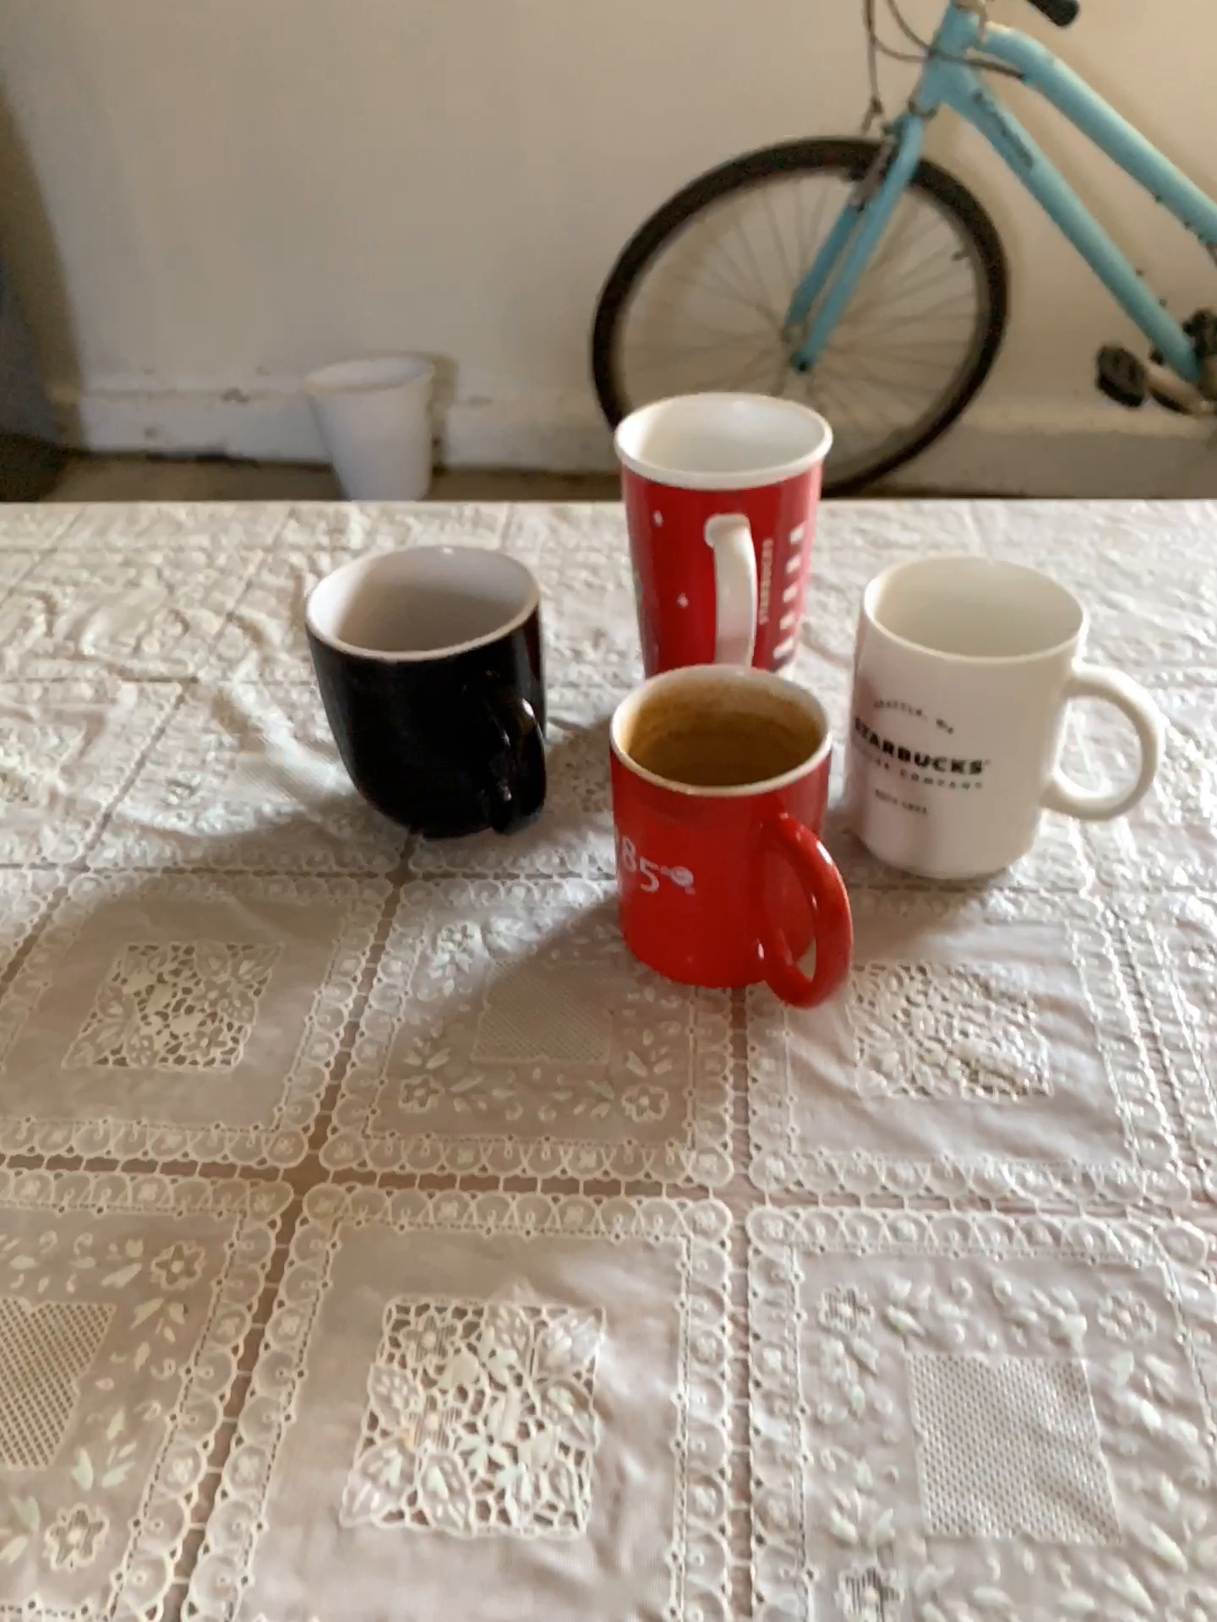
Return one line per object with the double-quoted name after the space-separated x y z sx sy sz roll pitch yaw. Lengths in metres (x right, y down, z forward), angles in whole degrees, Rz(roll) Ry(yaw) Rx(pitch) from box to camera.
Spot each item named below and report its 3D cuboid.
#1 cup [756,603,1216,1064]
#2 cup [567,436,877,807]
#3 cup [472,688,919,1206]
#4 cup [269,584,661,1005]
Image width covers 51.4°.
0.144 0.002 0.480 0.141 0.090 0.100 27 48 33 "cup"
0.042 -0.086 0.542 0.100 0.090 0.141 -7 39 -4 "cup"
0.024 0.039 0.421 0.080 0.090 0.131 -22 42 -22 "cup"
-0.062 -0.014 0.546 0.100 0.090 0.151 -24 43 -23 "cup"
